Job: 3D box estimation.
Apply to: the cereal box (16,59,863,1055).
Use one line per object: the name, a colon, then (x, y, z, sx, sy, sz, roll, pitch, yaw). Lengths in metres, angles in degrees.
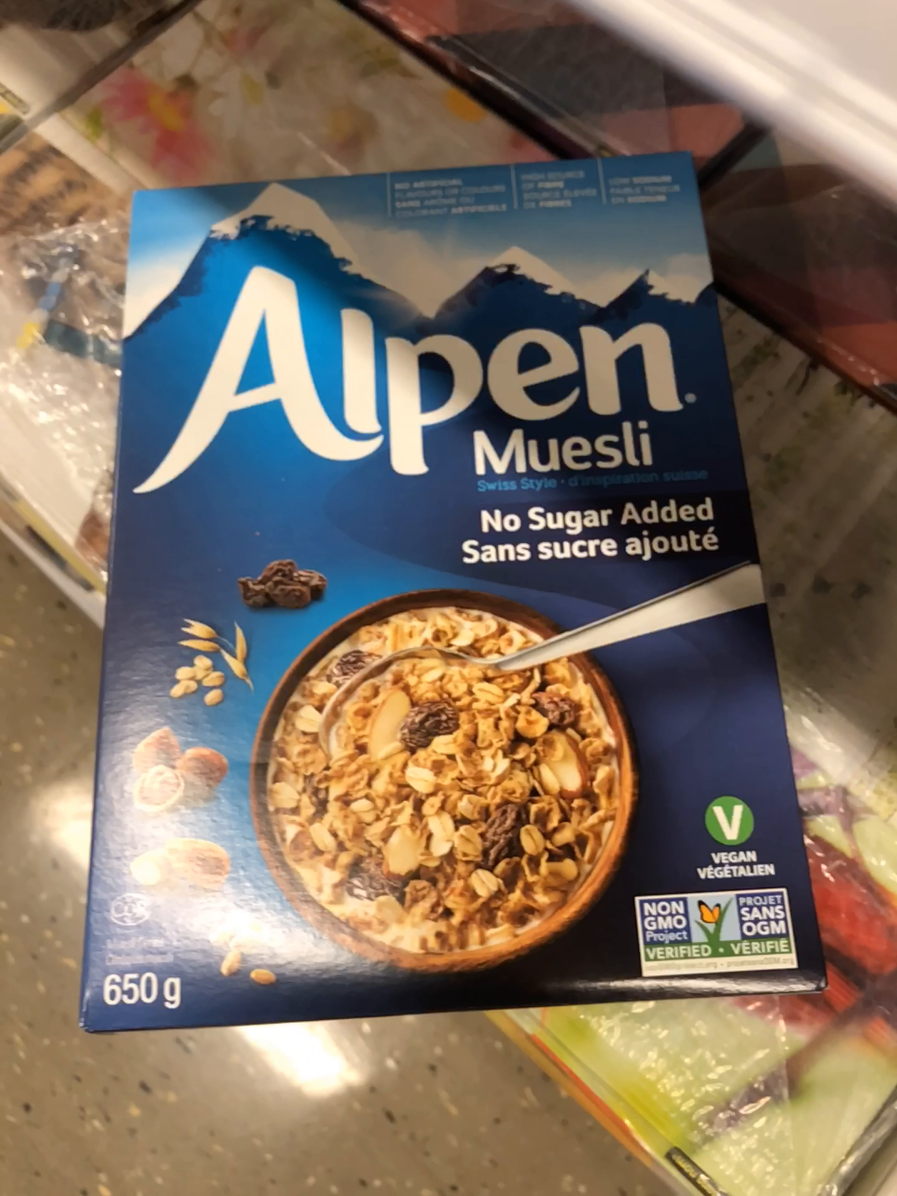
cereal box: (-0.010, -0.023, 0.292, 0.190, 0.050, 0.270, -4, 72, 1)
